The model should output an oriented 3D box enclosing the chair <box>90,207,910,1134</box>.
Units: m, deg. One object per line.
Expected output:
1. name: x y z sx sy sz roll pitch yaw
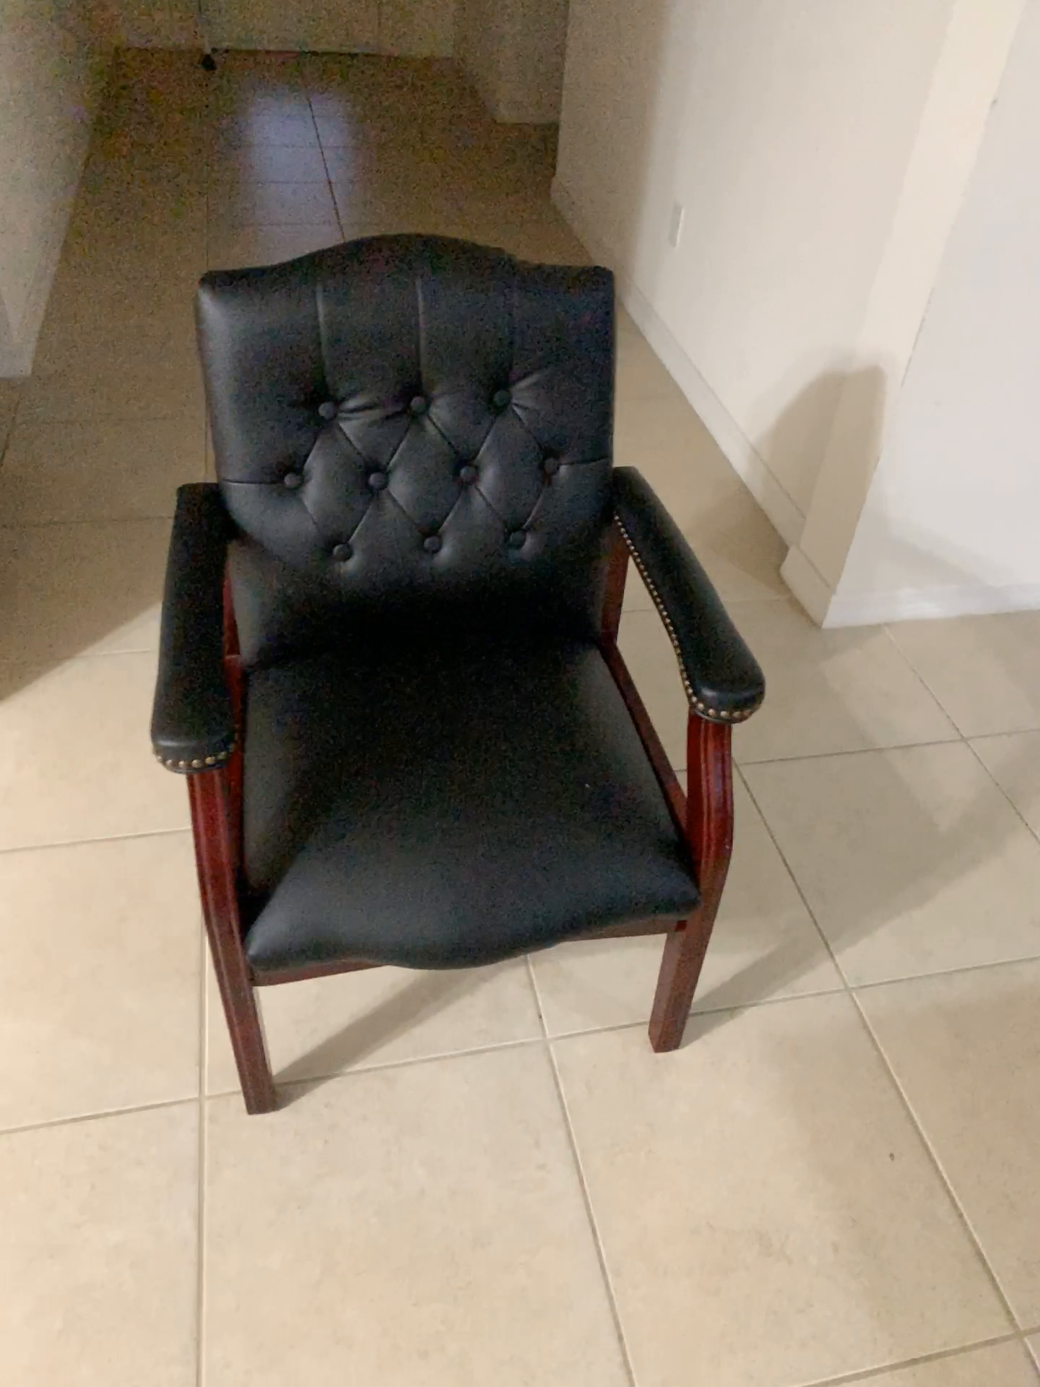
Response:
1. chair: -0.085 -0.029 1.340 0.632 0.907 0.660 -5 42 -11
